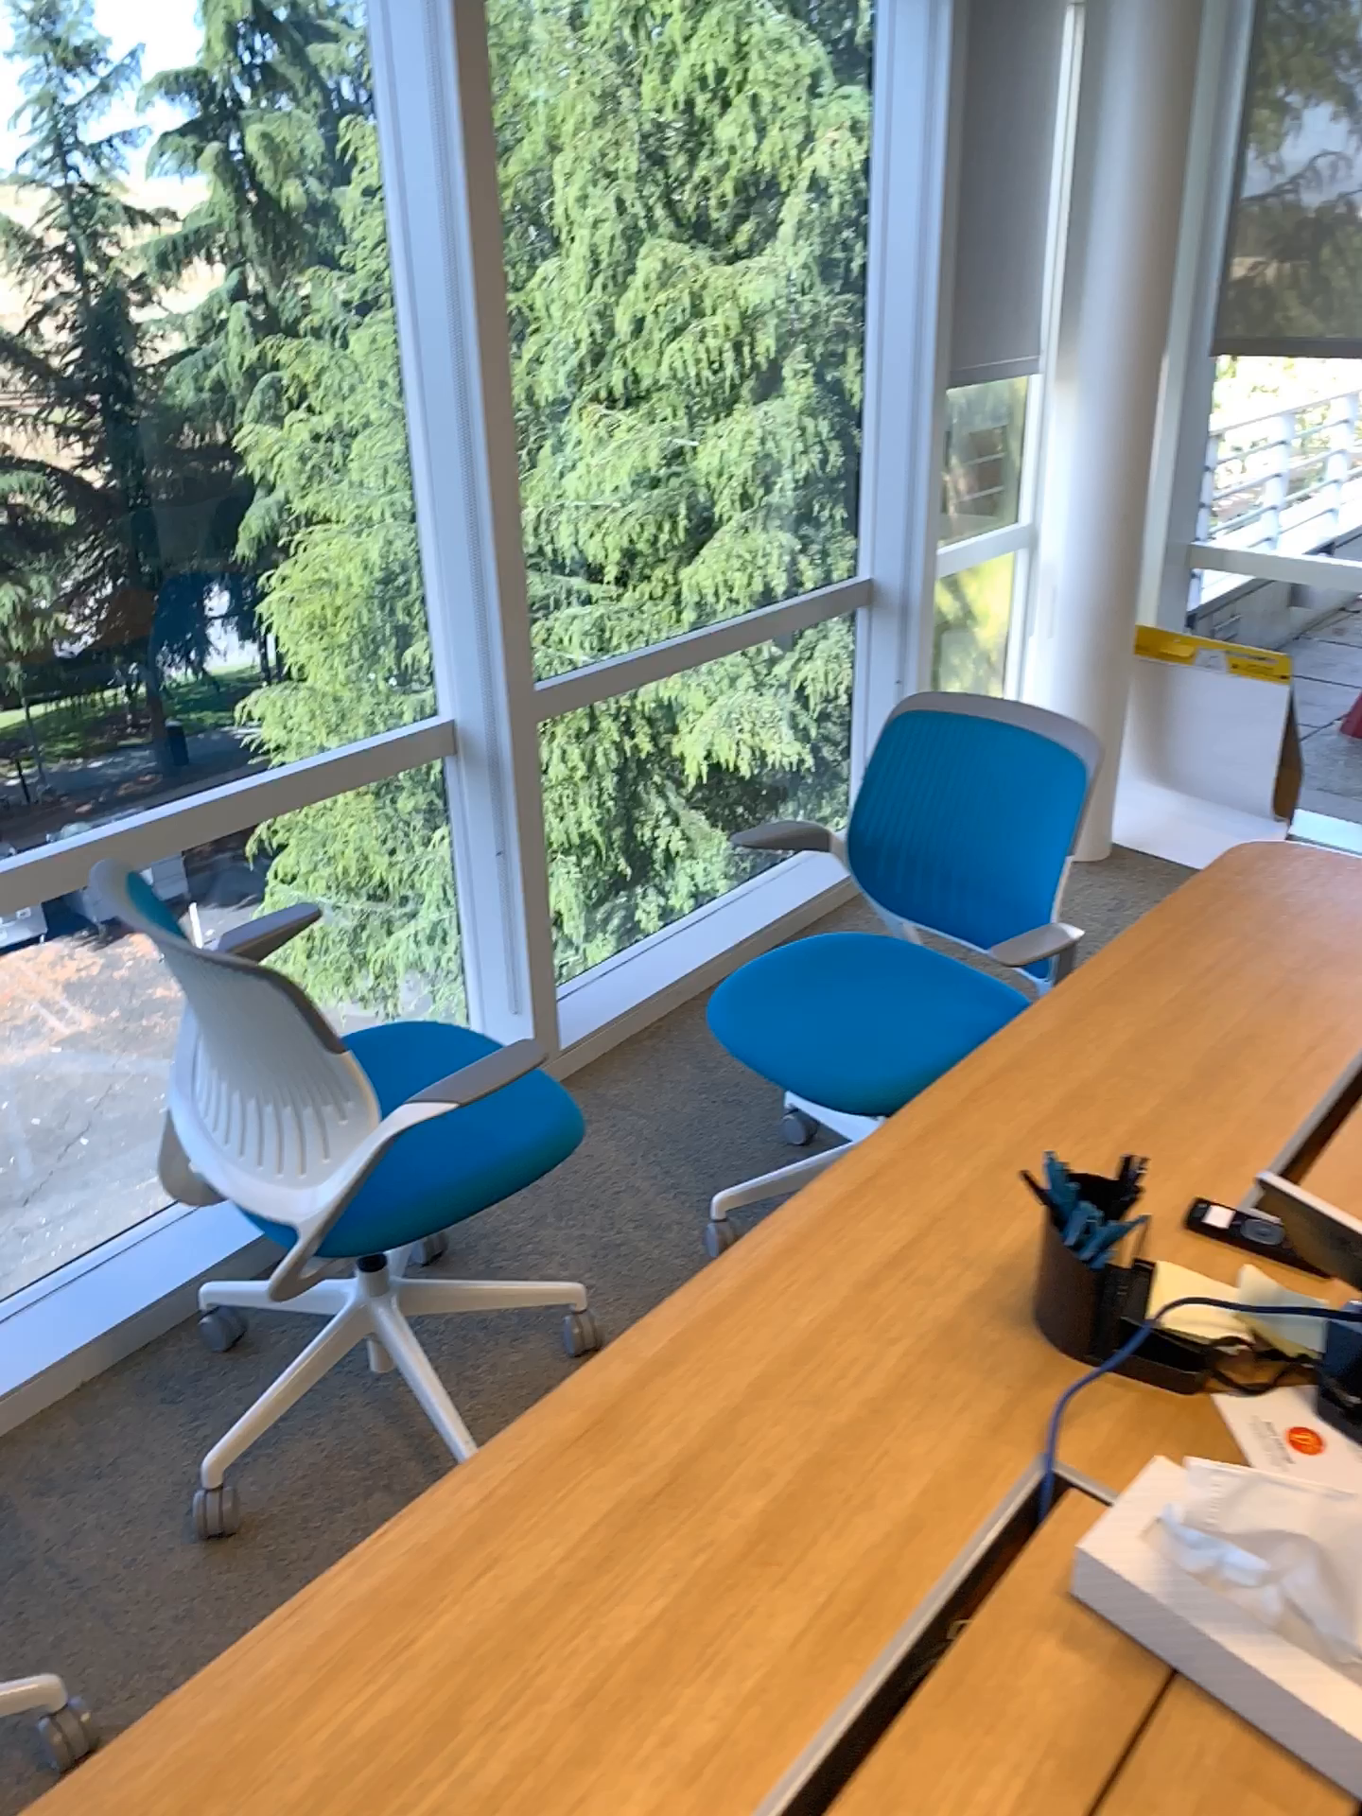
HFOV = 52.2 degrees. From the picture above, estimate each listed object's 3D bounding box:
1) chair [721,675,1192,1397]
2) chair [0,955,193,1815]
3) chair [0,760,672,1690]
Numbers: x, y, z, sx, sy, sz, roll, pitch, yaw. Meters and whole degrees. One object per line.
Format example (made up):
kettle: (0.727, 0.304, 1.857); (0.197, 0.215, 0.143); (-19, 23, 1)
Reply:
chair: (0.493, 0.208, 2.649); (0.631, 1.094, 0.542); (-24, 33, -39)
chair: (-1.271, 0.798, 1.659); (0.872, 1.134, 0.733); (11, 28, 23)
chair: (-0.476, 0.412, 2.087); (0.652, 1.014, 0.642); (17, 31, 33)
